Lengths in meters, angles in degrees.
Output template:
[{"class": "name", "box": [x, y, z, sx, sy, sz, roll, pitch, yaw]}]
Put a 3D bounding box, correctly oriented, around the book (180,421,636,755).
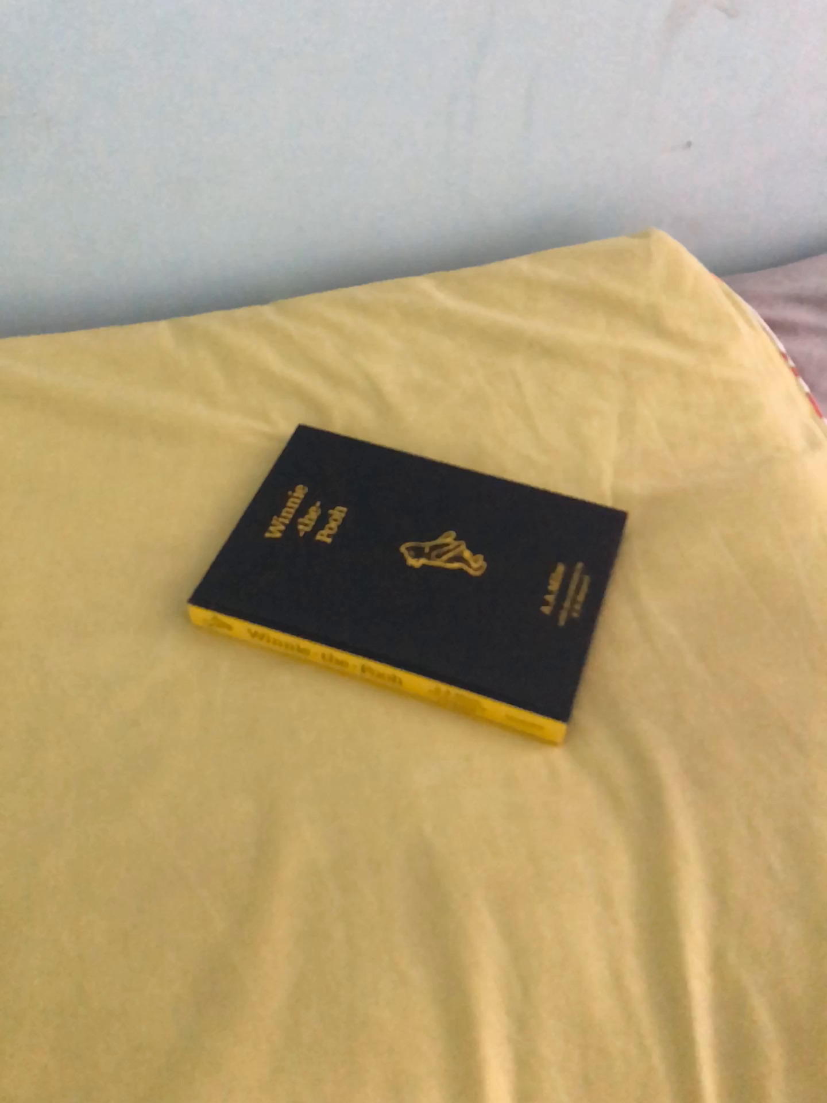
[{"class": "book", "box": [0.002, 0.010, 0.516, 0.220, 0.020, 0.151, 17, 54, 11]}]
